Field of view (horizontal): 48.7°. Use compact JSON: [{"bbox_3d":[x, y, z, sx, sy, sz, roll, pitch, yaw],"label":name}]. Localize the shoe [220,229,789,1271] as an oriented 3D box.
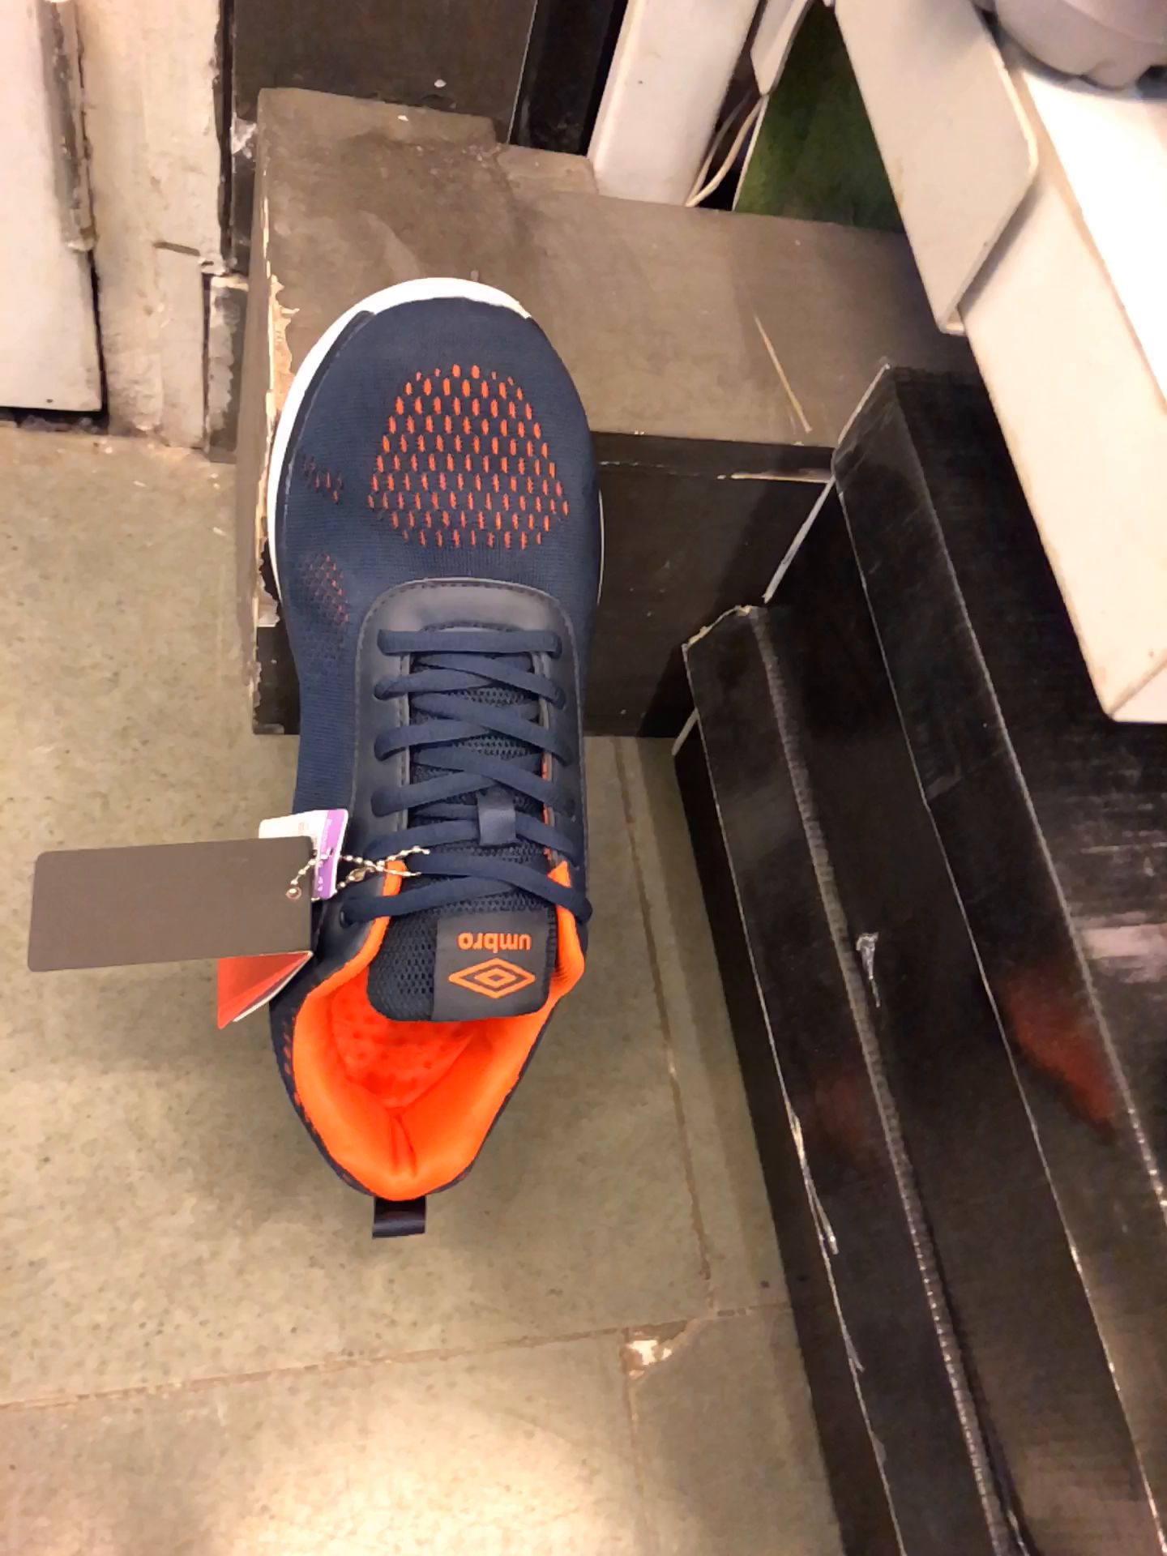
[{"bbox_3d":[-0.044,-0.005,0.378,0.092,0.259,0.133,2,29,-21],"label":"shoe"}]
